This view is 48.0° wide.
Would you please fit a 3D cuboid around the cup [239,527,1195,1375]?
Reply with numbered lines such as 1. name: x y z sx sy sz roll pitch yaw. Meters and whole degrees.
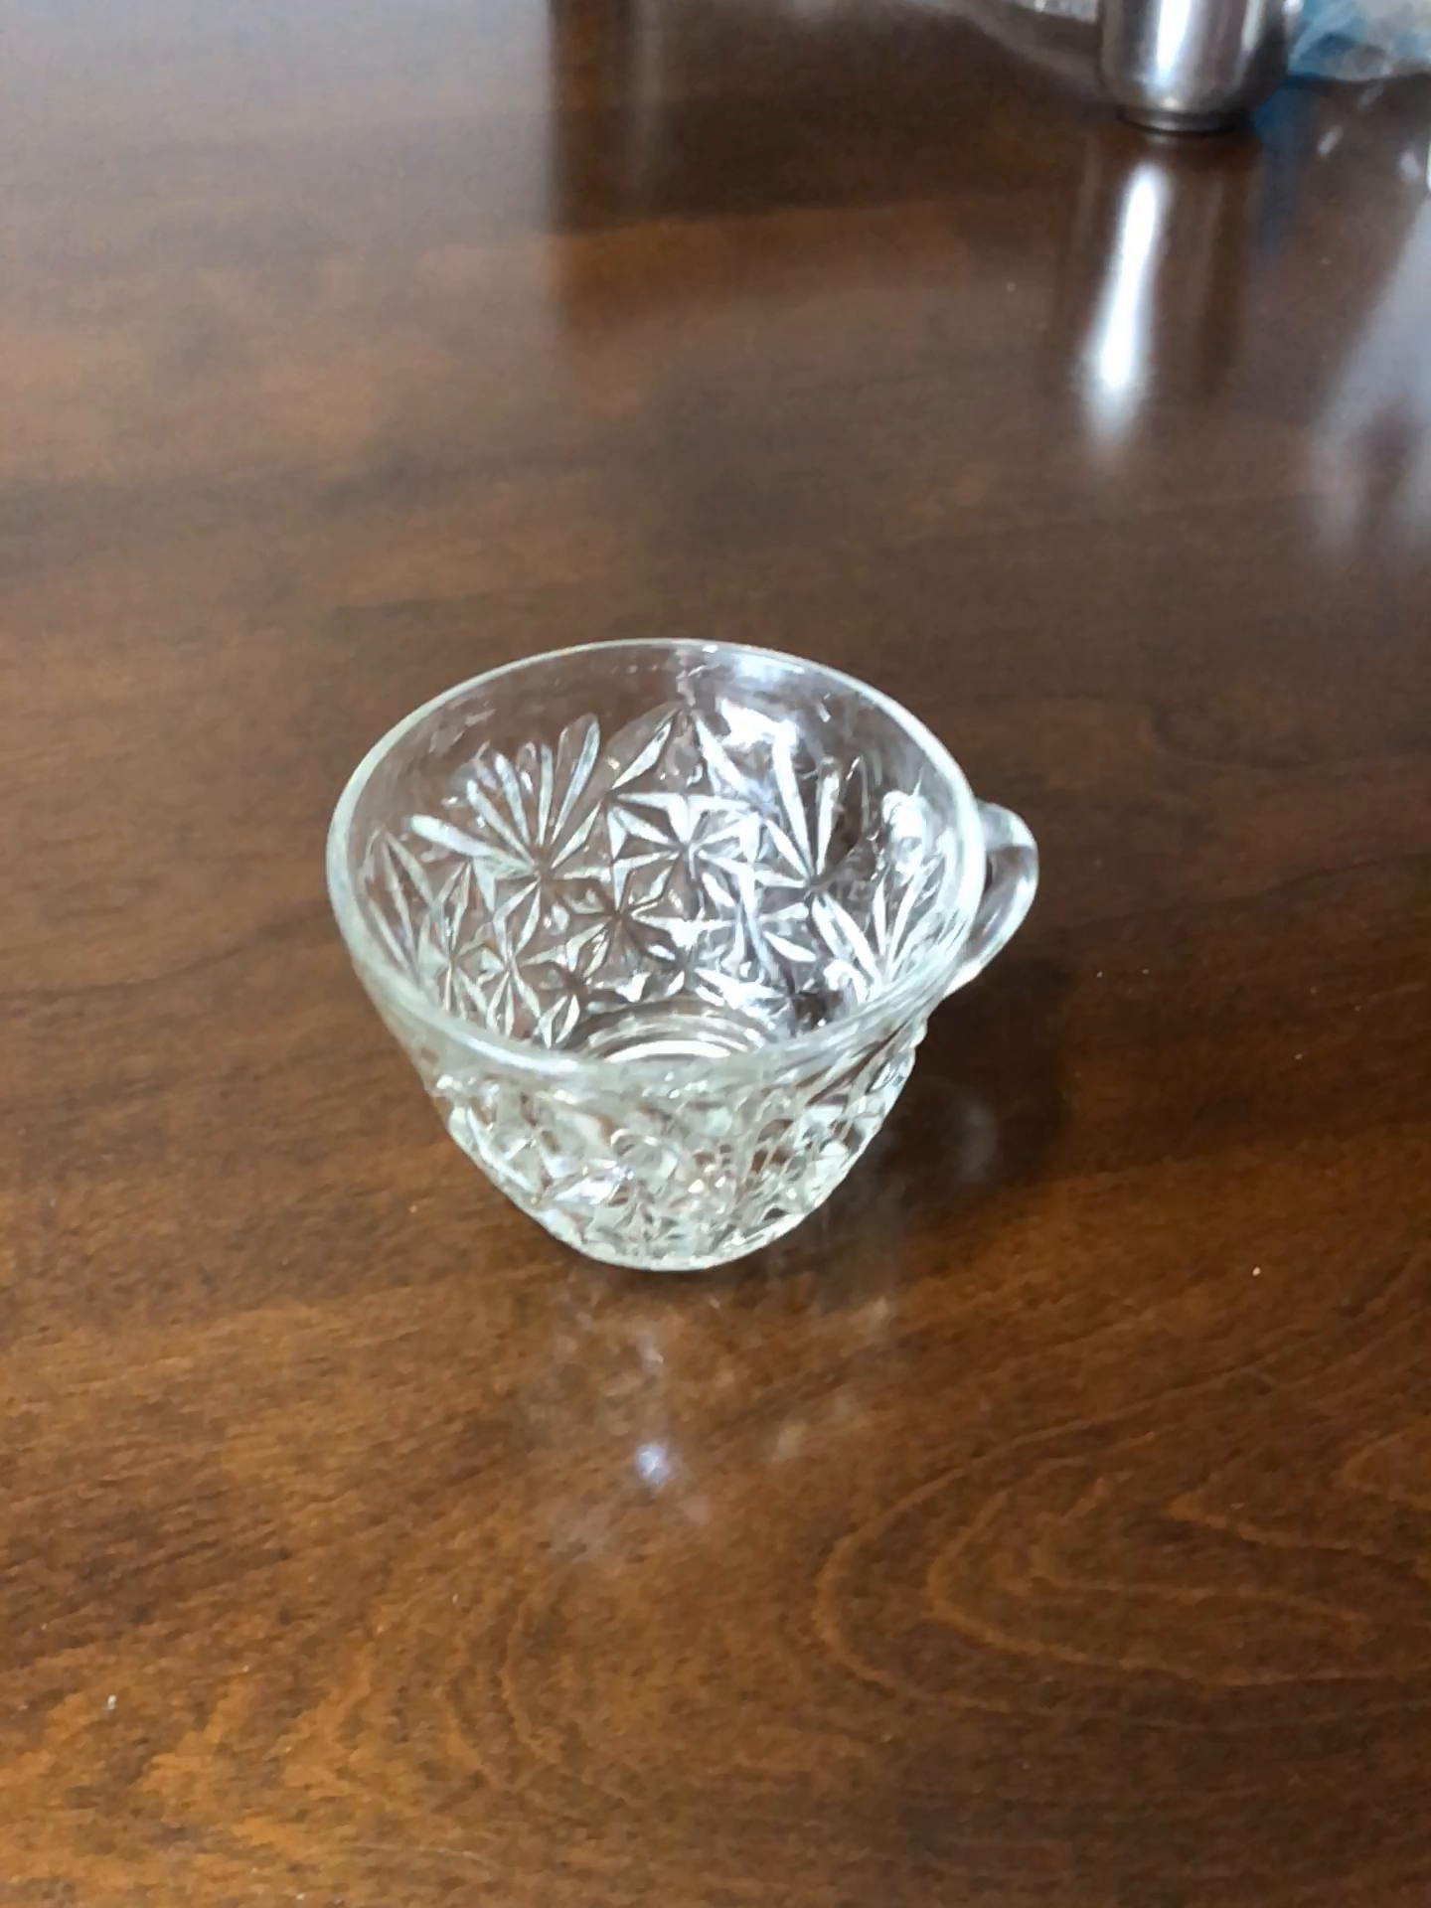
1. cup: -0.002 -0.005 0.222 0.100 0.060 0.070 -18 47 -16
